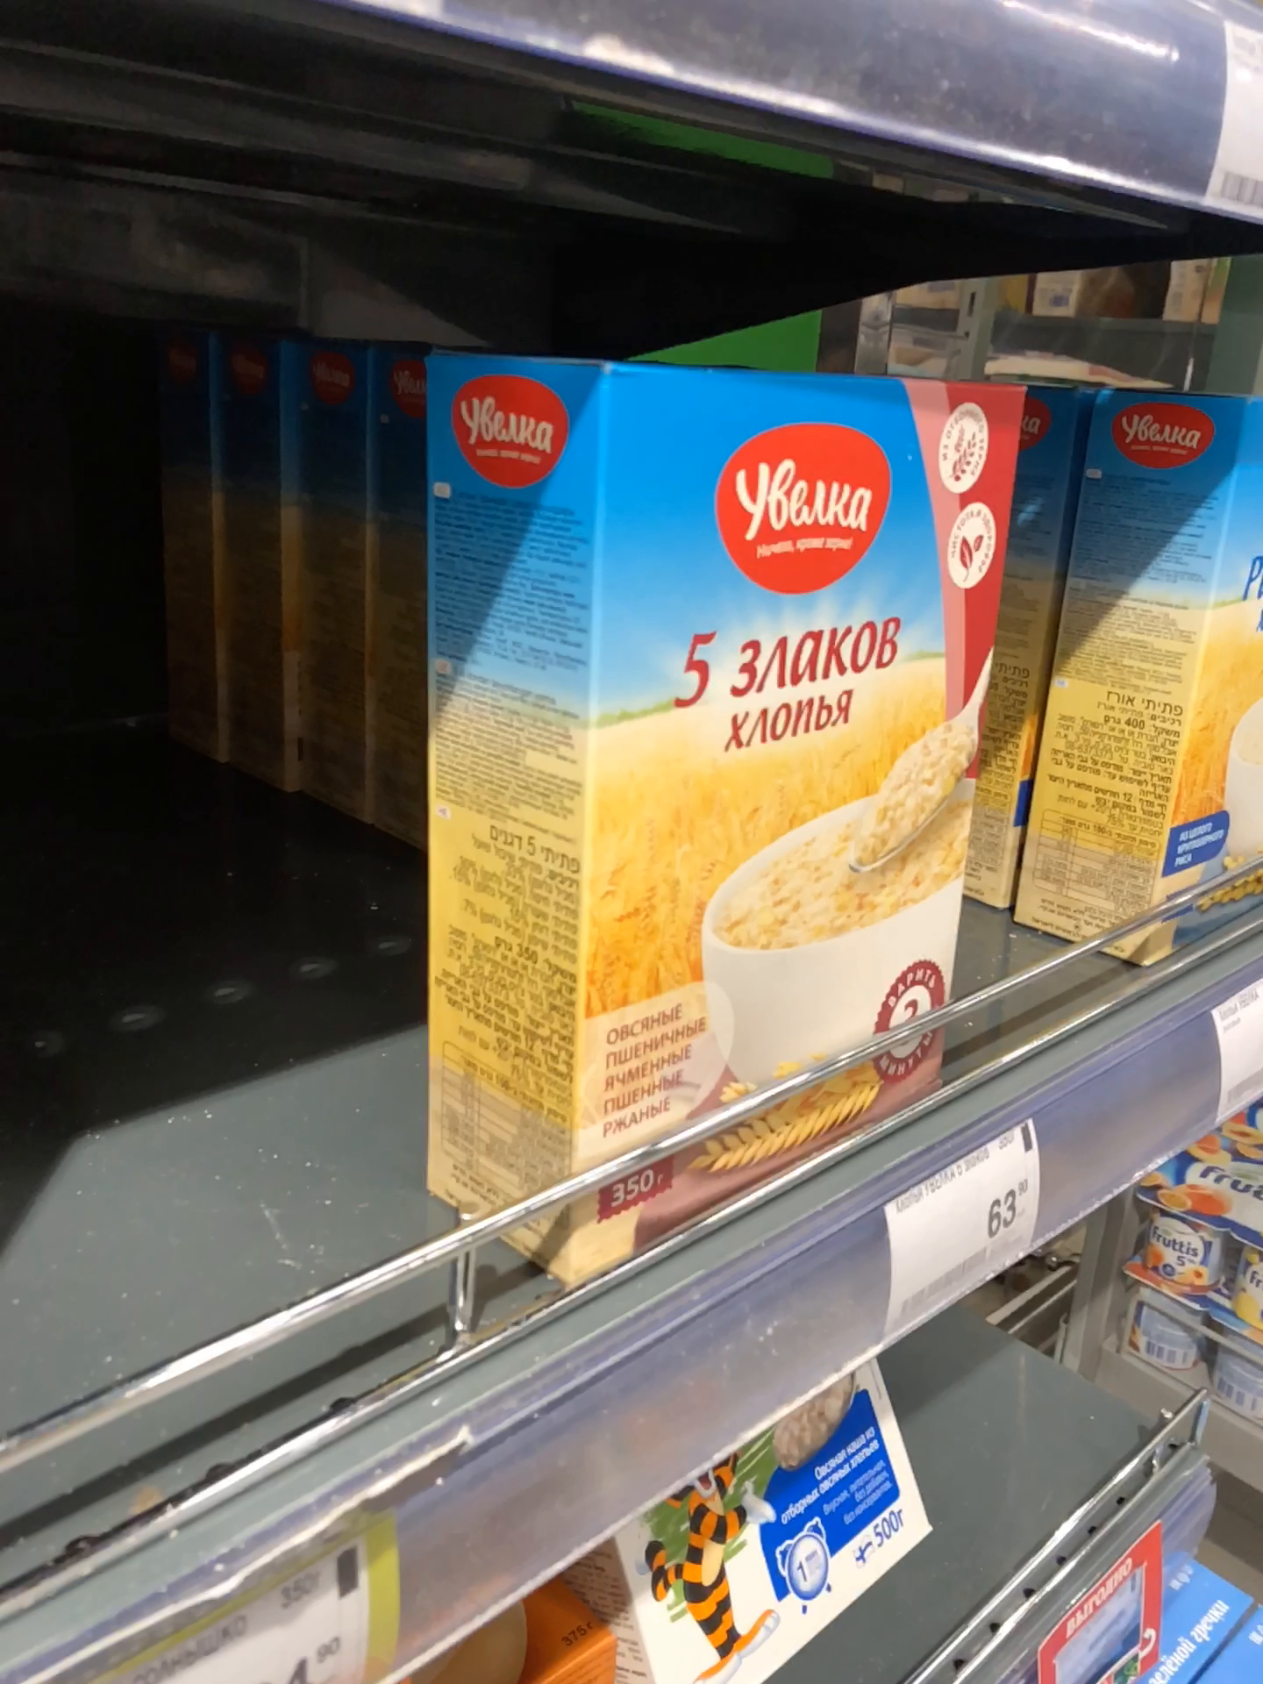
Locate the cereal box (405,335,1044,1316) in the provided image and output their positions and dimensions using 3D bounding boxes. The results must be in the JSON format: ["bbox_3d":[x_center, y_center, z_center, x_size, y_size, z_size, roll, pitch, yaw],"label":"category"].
[{"bbox_3d":[0.024,-0.013,0.325,0.050,0.189,0.150,19,24,42],"label":"cereal box"}]
